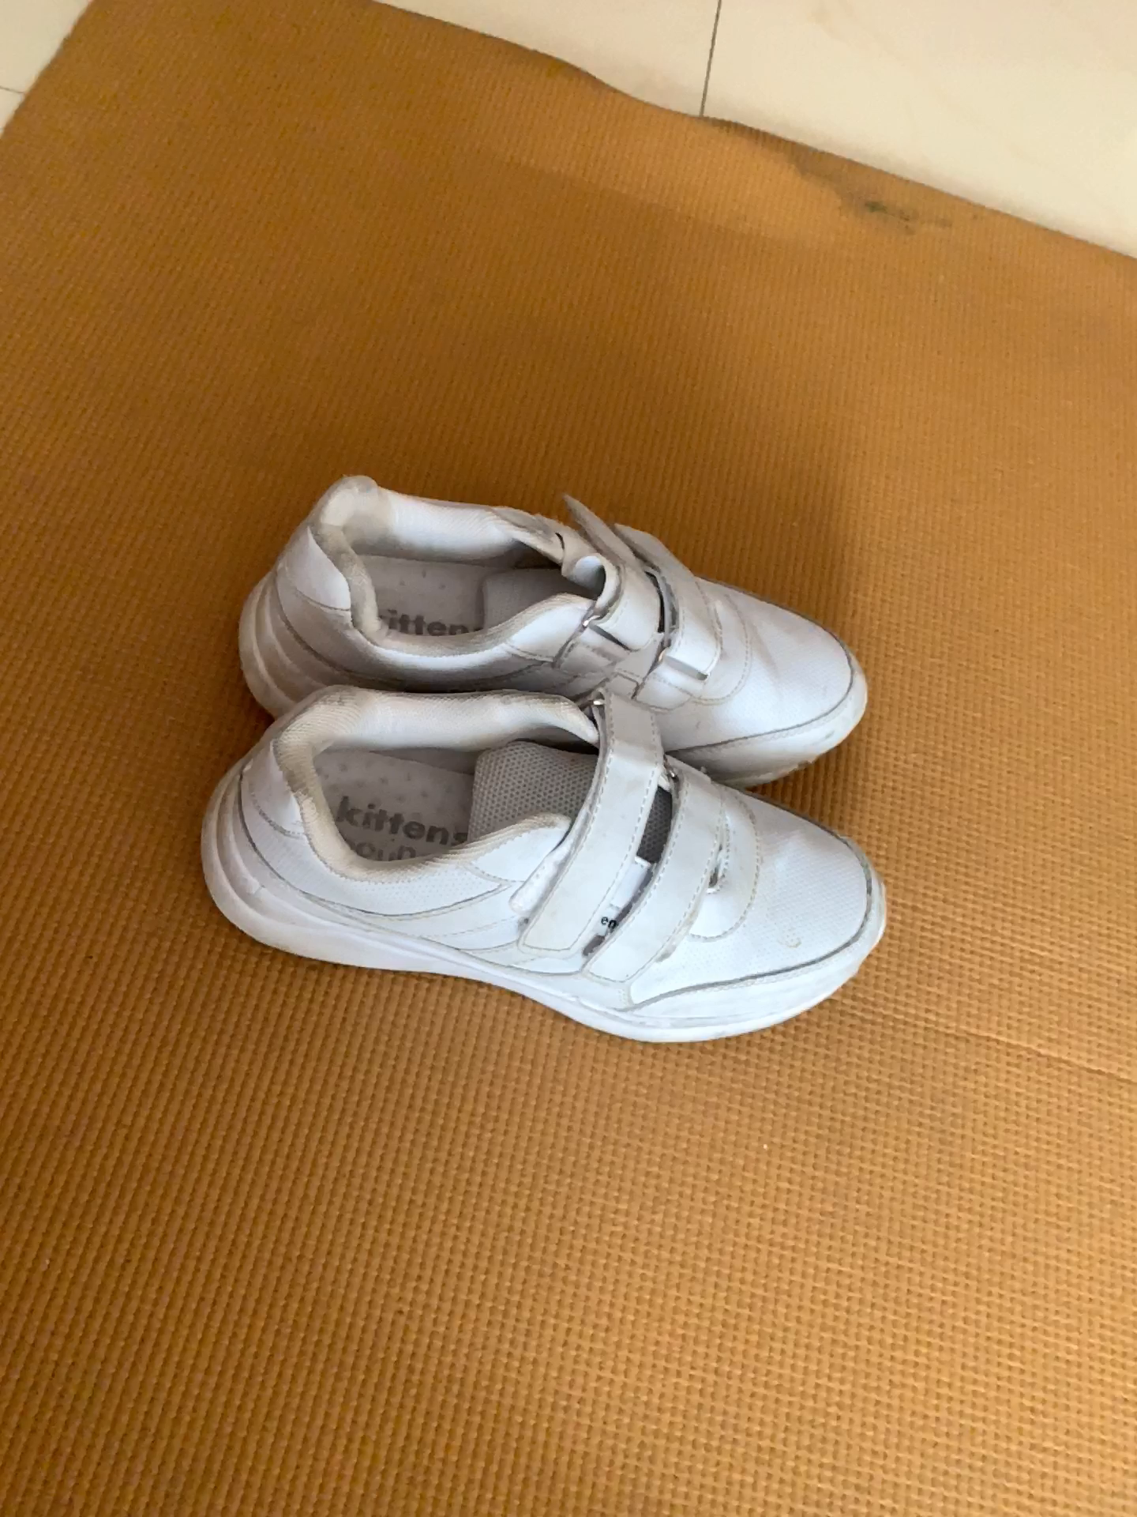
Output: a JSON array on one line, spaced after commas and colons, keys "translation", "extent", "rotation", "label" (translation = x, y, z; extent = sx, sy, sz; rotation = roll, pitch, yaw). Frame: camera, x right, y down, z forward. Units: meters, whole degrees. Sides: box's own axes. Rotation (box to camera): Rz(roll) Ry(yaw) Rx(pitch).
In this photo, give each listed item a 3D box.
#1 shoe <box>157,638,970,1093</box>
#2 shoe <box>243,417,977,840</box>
[{"translation": [-0.001, 0.044, 0.403], "extent": [0.240, 0.100, 0.090], "rotation": [10, 63, -8], "label": "shoe"}, {"translation": [0.016, -0.044, 0.440], "extent": [0.250, 0.070, 0.090], "rotation": [10, 63, -8], "label": "shoe"}]
